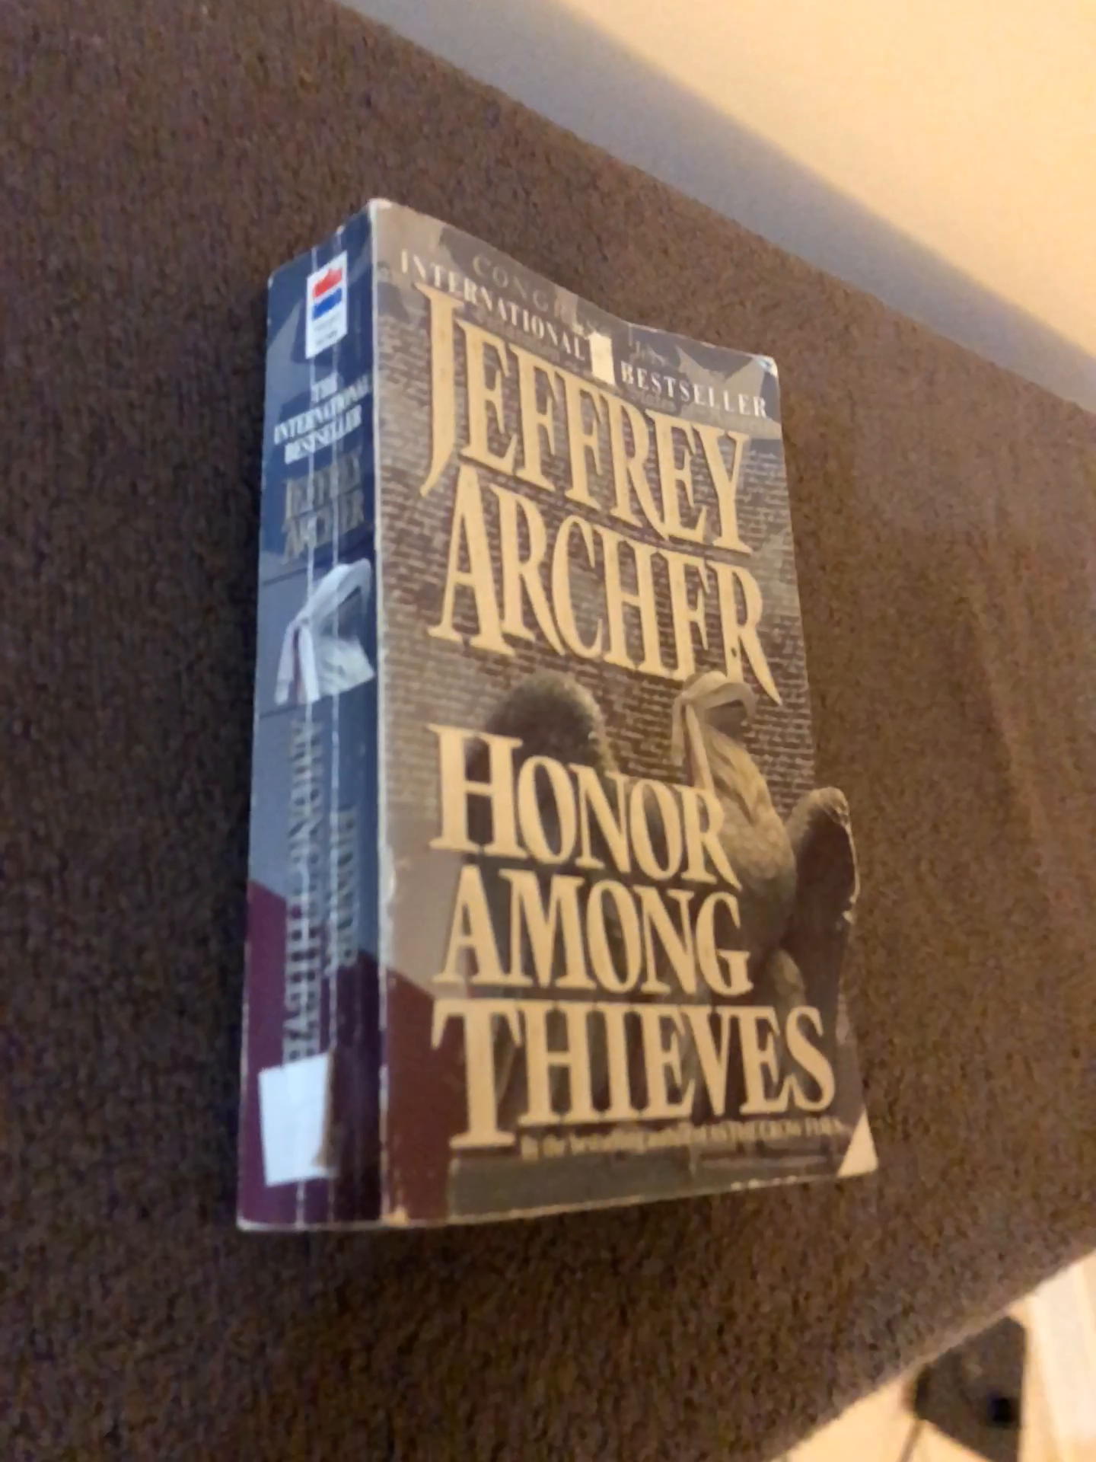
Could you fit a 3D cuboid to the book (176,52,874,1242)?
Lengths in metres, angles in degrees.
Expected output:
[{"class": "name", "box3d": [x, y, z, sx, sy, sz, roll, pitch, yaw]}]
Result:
[{"class": "book", "box3d": [-0.001, -0.011, 0.232, 0.121, 0.040, 0.190, 15, 64, -42]}]
